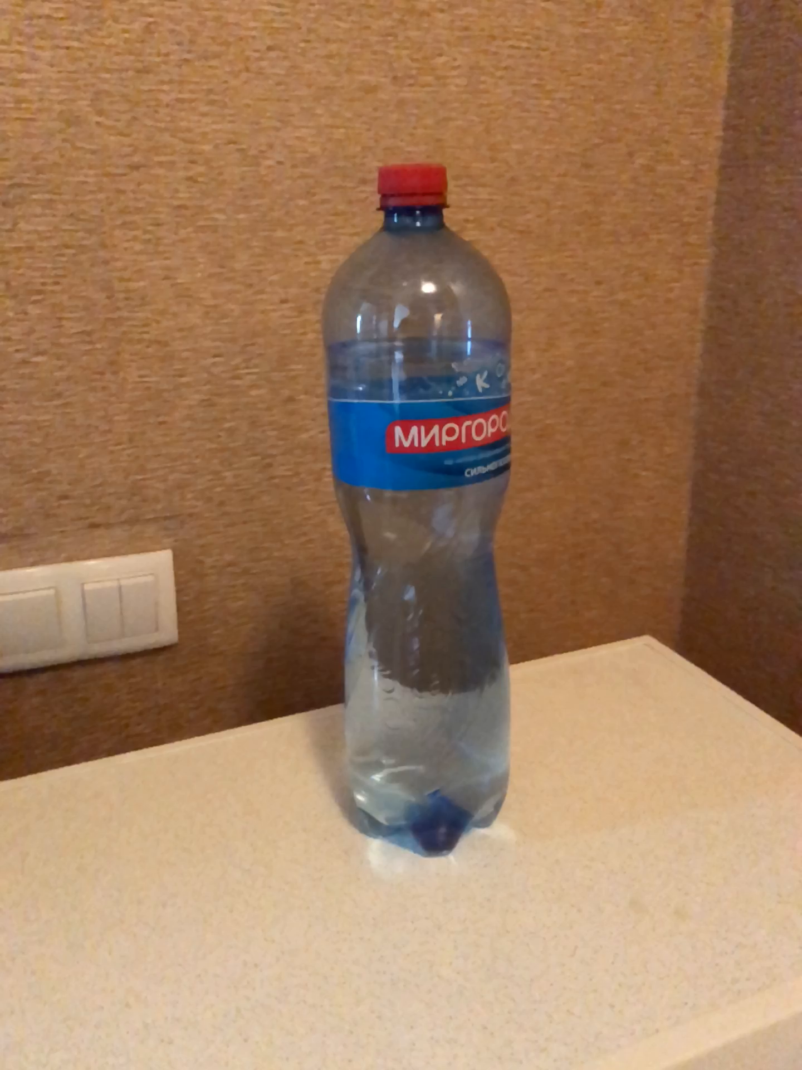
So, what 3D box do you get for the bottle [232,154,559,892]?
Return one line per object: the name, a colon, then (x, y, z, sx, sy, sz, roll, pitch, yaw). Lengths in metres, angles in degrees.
bottle: (0.002, -0.007, 0.428, 0.100, 0.318, 0.100, -1, 19, 0)
